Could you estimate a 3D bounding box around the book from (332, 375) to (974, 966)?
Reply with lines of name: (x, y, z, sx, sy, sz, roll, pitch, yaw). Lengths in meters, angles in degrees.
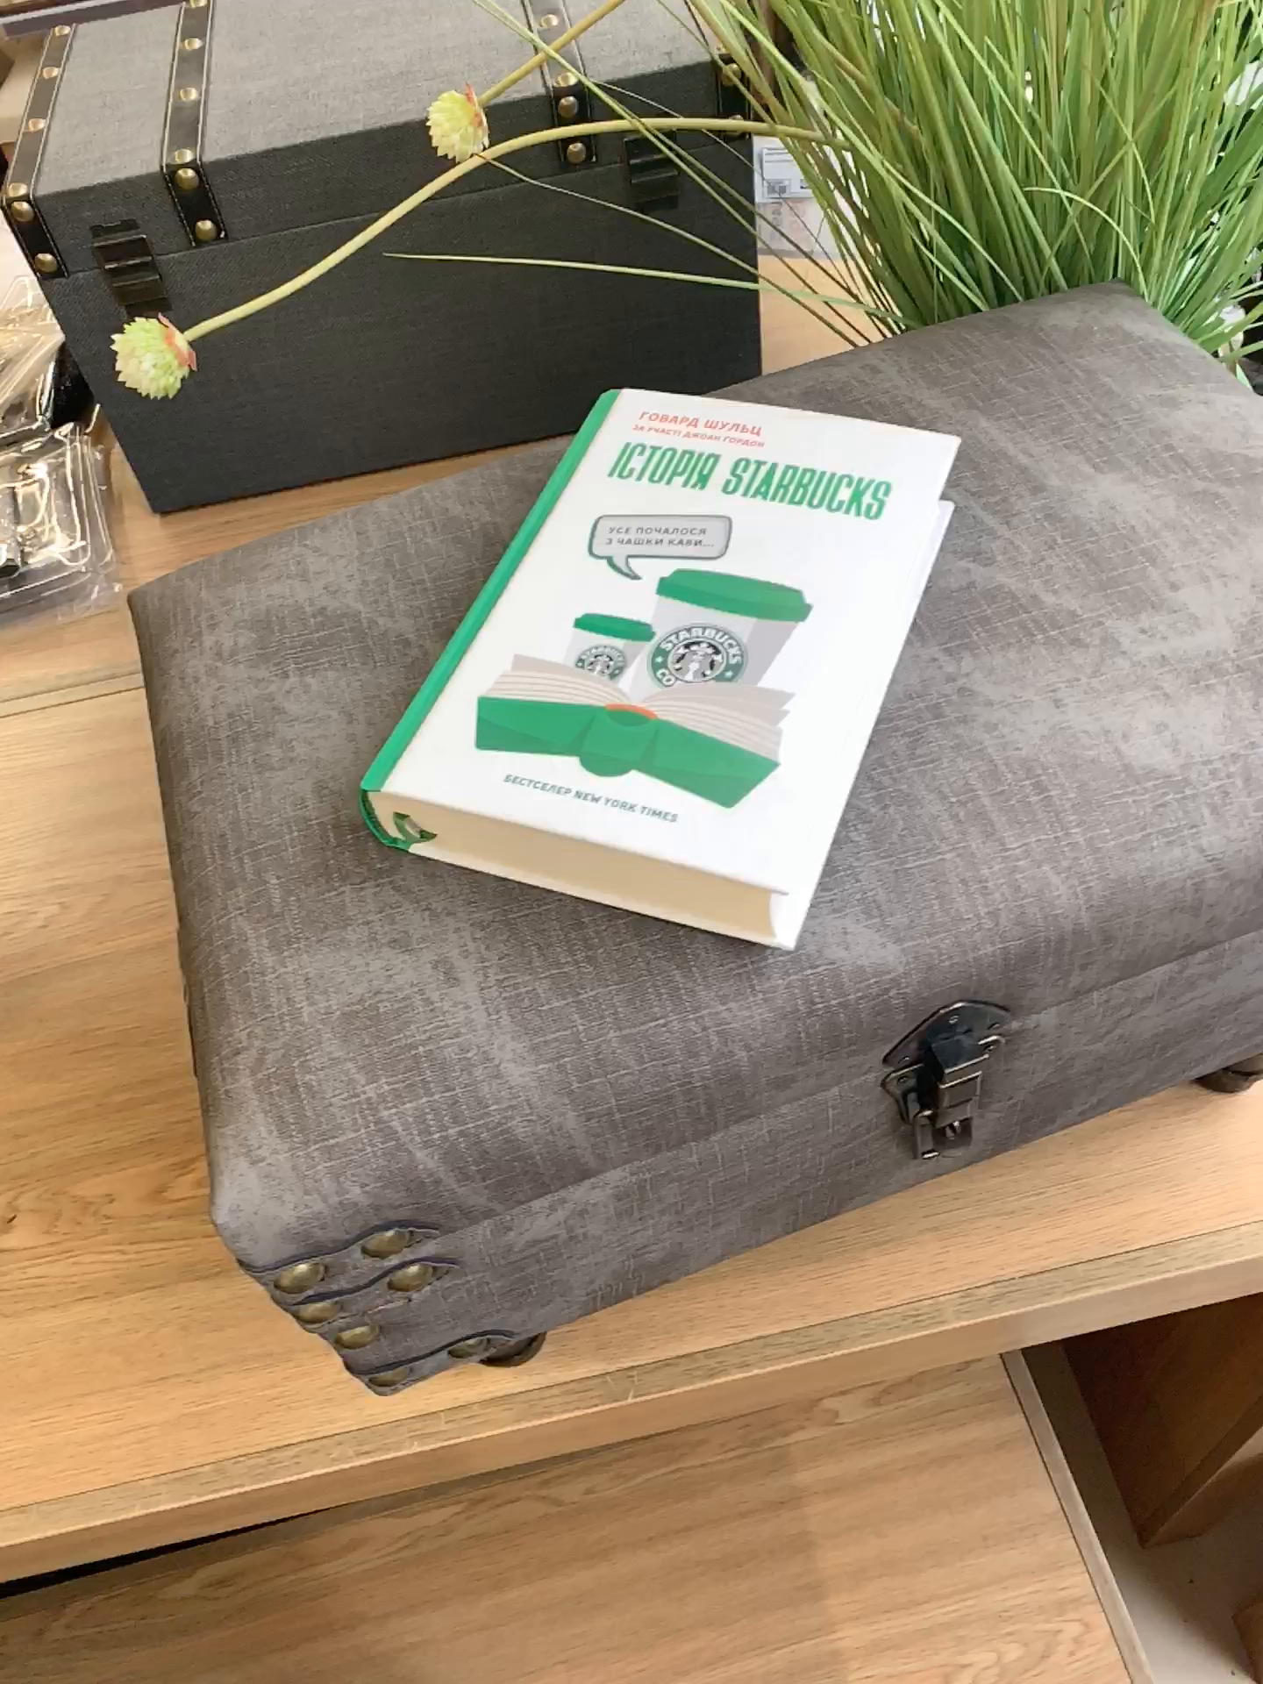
book: (0.020, -0.080, 0.481, 0.160, 0.040, 0.235, 14, 55, 17)
